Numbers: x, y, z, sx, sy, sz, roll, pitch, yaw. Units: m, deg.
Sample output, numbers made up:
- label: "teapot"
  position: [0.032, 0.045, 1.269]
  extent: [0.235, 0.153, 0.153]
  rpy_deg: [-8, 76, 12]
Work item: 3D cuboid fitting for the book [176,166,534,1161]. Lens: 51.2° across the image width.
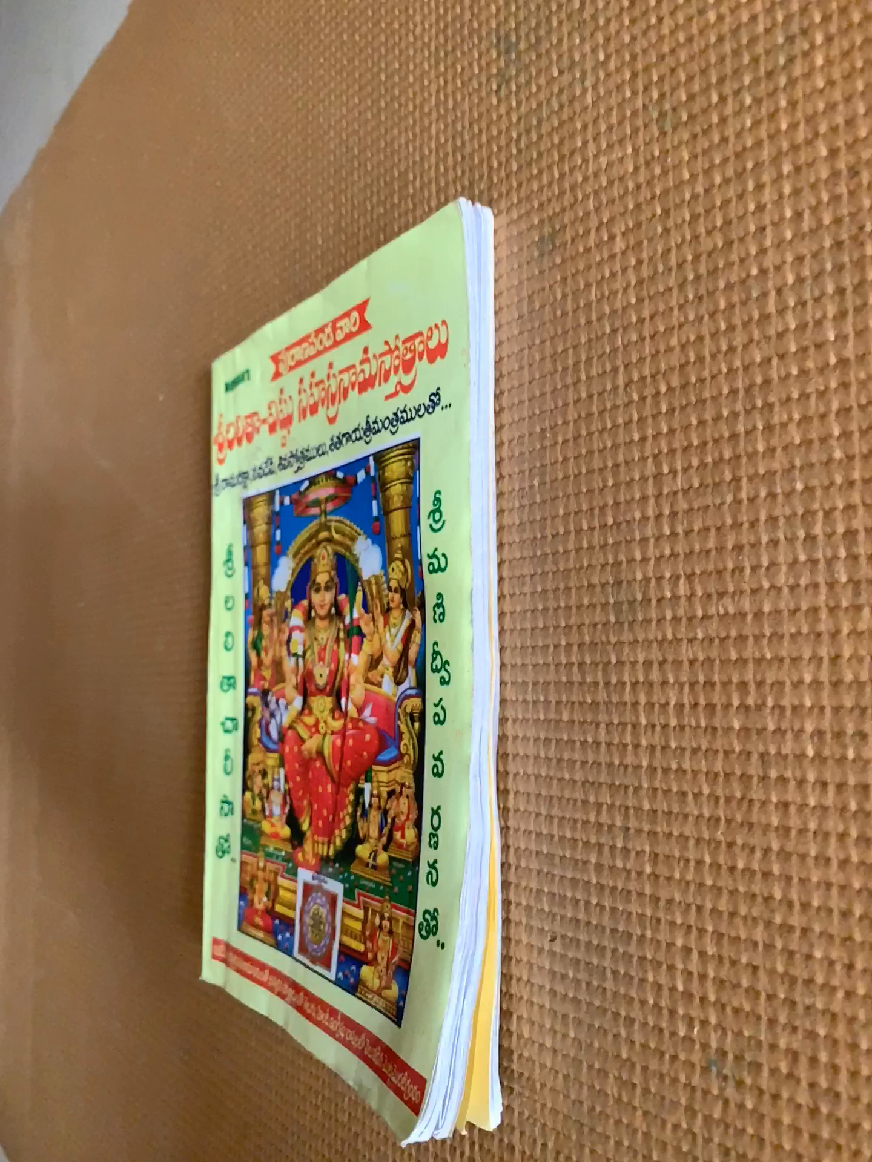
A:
- label: "book"
  position: [-0.031, 0.019, 0.250]
  extent: [0.141, 0.020, 0.210]
  rpy_deg: [-8, 80, 52]
